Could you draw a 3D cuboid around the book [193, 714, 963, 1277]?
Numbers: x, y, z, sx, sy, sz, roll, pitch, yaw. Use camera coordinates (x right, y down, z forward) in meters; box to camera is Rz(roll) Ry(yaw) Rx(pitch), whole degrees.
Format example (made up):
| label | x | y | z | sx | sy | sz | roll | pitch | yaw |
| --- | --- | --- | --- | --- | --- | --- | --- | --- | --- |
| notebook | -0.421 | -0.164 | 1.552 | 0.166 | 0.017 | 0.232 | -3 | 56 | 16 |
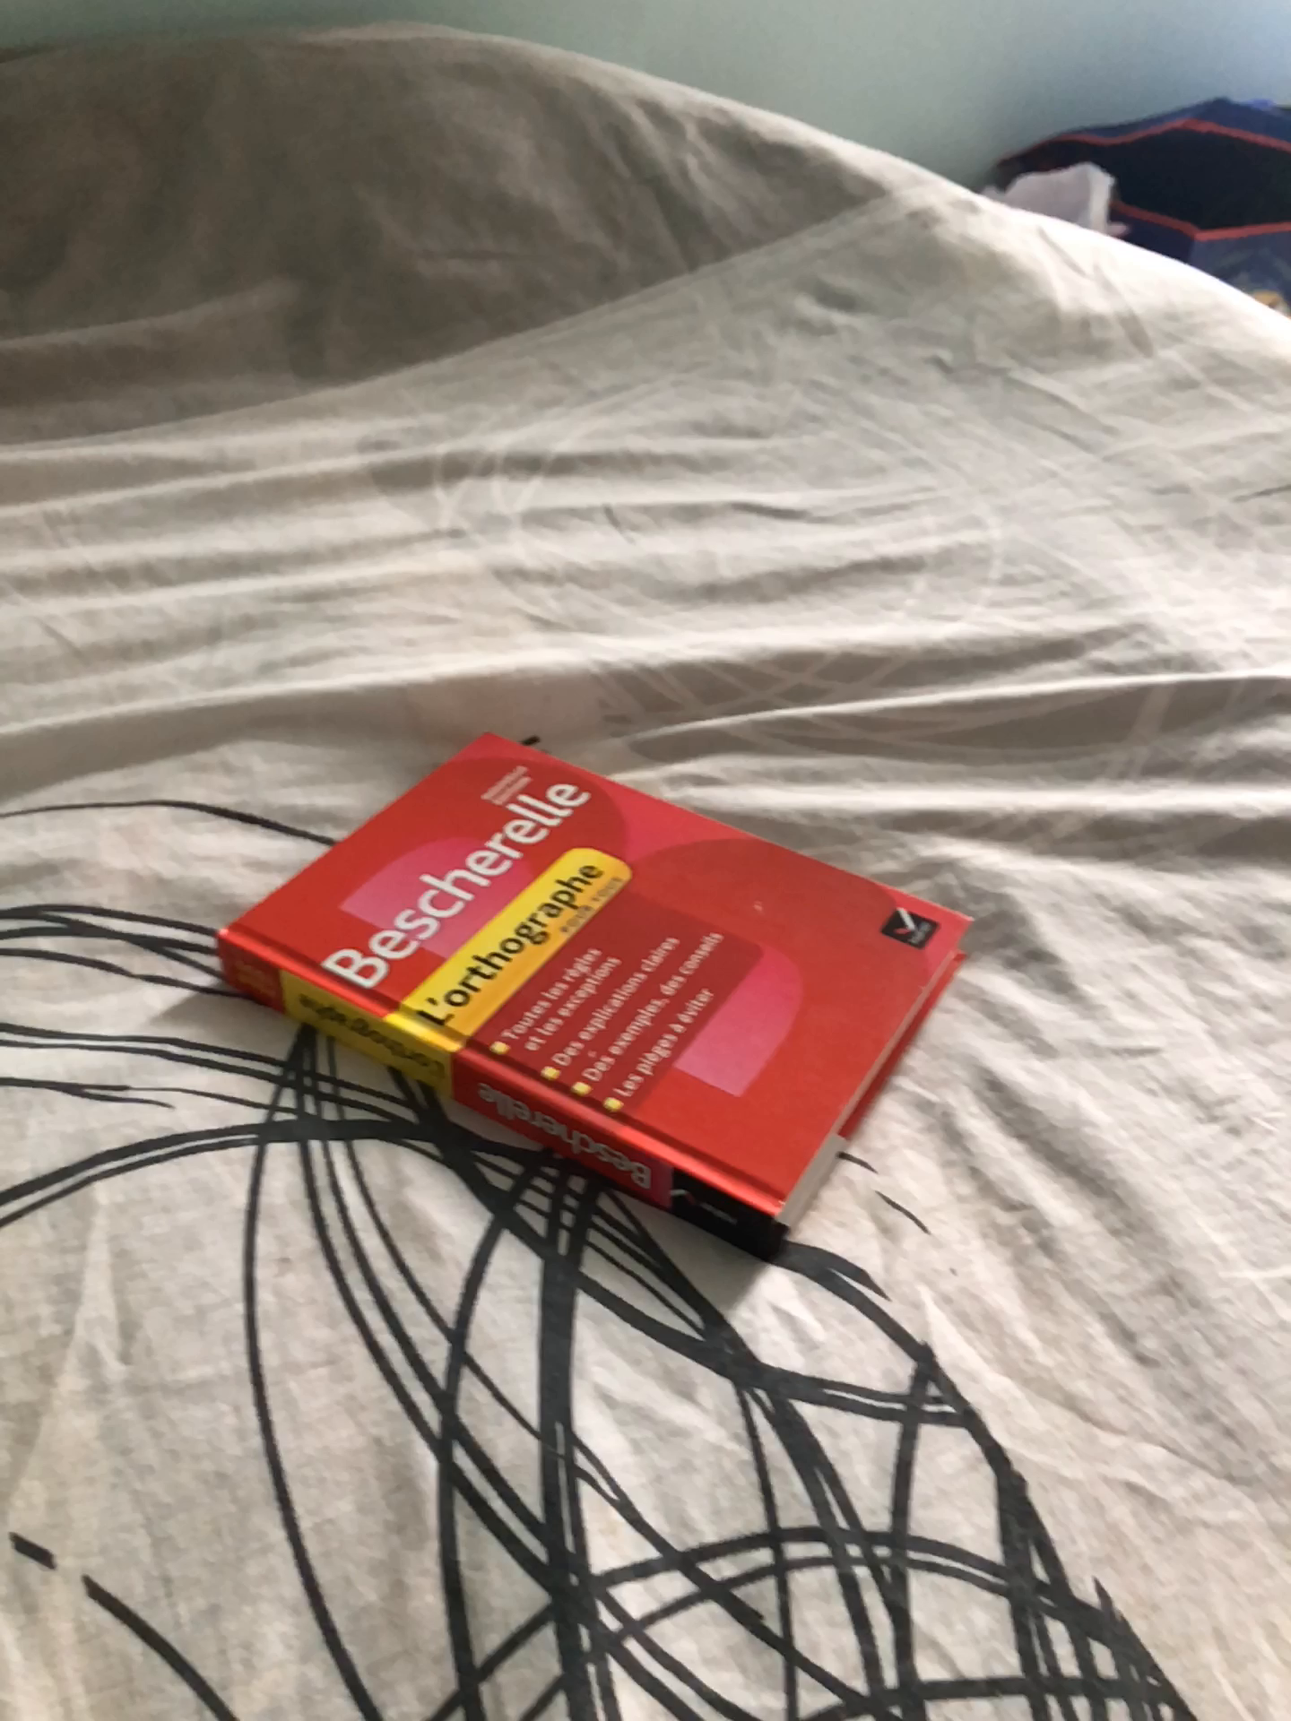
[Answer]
| label | x | y | z | sx | sy | sz | roll | pitch | yaw |
| --- | --- | --- | --- | --- | --- | --- | --- | --- | --- |
| book | -0.017 | 0.027 | 0.445 | 0.189 | 0.023 | 0.143 | 22 | 43 | 21 |
